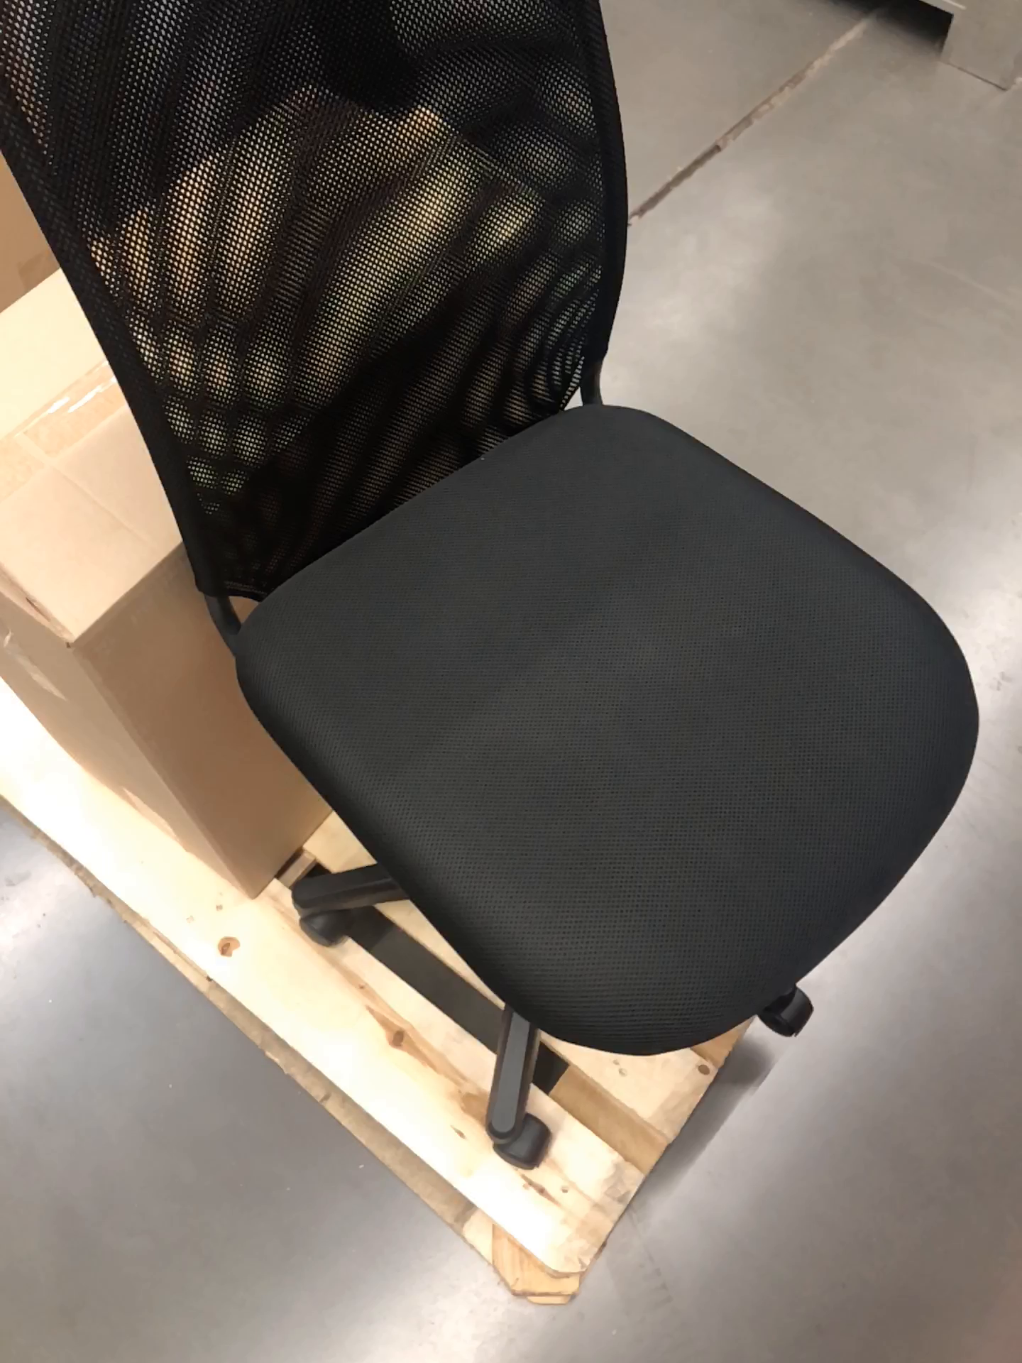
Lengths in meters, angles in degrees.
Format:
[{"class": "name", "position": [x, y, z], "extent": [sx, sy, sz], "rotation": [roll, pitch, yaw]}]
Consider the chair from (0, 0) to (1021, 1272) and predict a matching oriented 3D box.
[{"class": "chair", "position": [0.085, -0.022, 0.872], "extent": [0.601, 1.036, 0.571], "rotation": [-37, 67, -18]}]
